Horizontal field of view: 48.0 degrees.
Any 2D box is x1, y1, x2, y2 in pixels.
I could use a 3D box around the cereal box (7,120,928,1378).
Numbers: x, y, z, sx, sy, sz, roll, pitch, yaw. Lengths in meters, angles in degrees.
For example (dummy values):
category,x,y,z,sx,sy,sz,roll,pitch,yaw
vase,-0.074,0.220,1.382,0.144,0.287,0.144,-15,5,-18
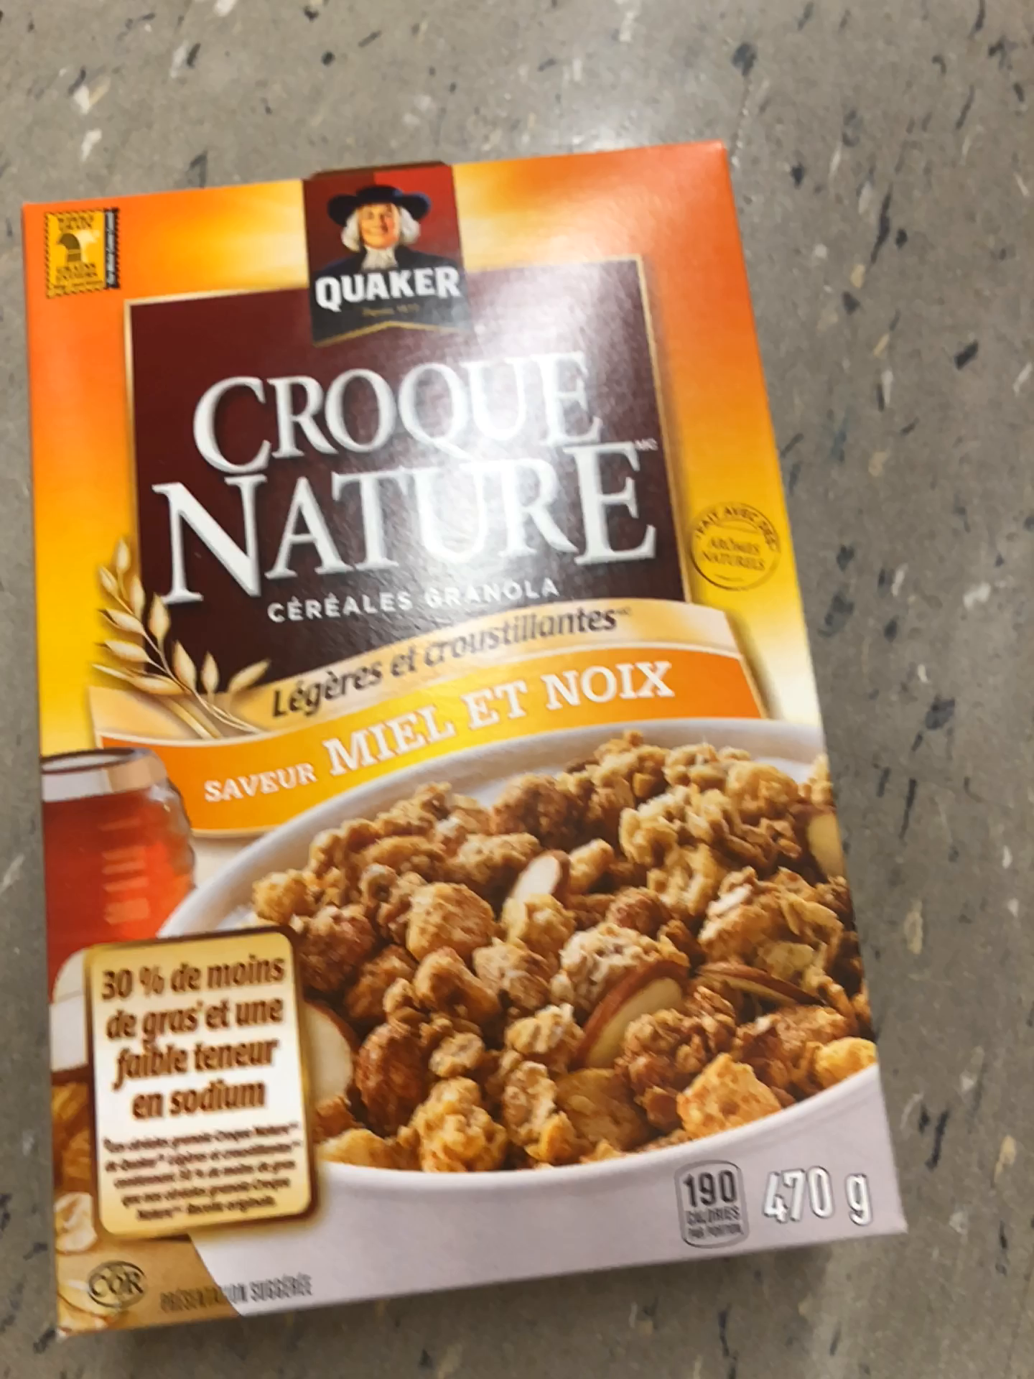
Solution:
category,x,y,z,sx,sy,sz,roll,pitch,yaw
cereal box,-0.018,0.004,0.258,0.160,0.050,0.240,-6,80,-2
